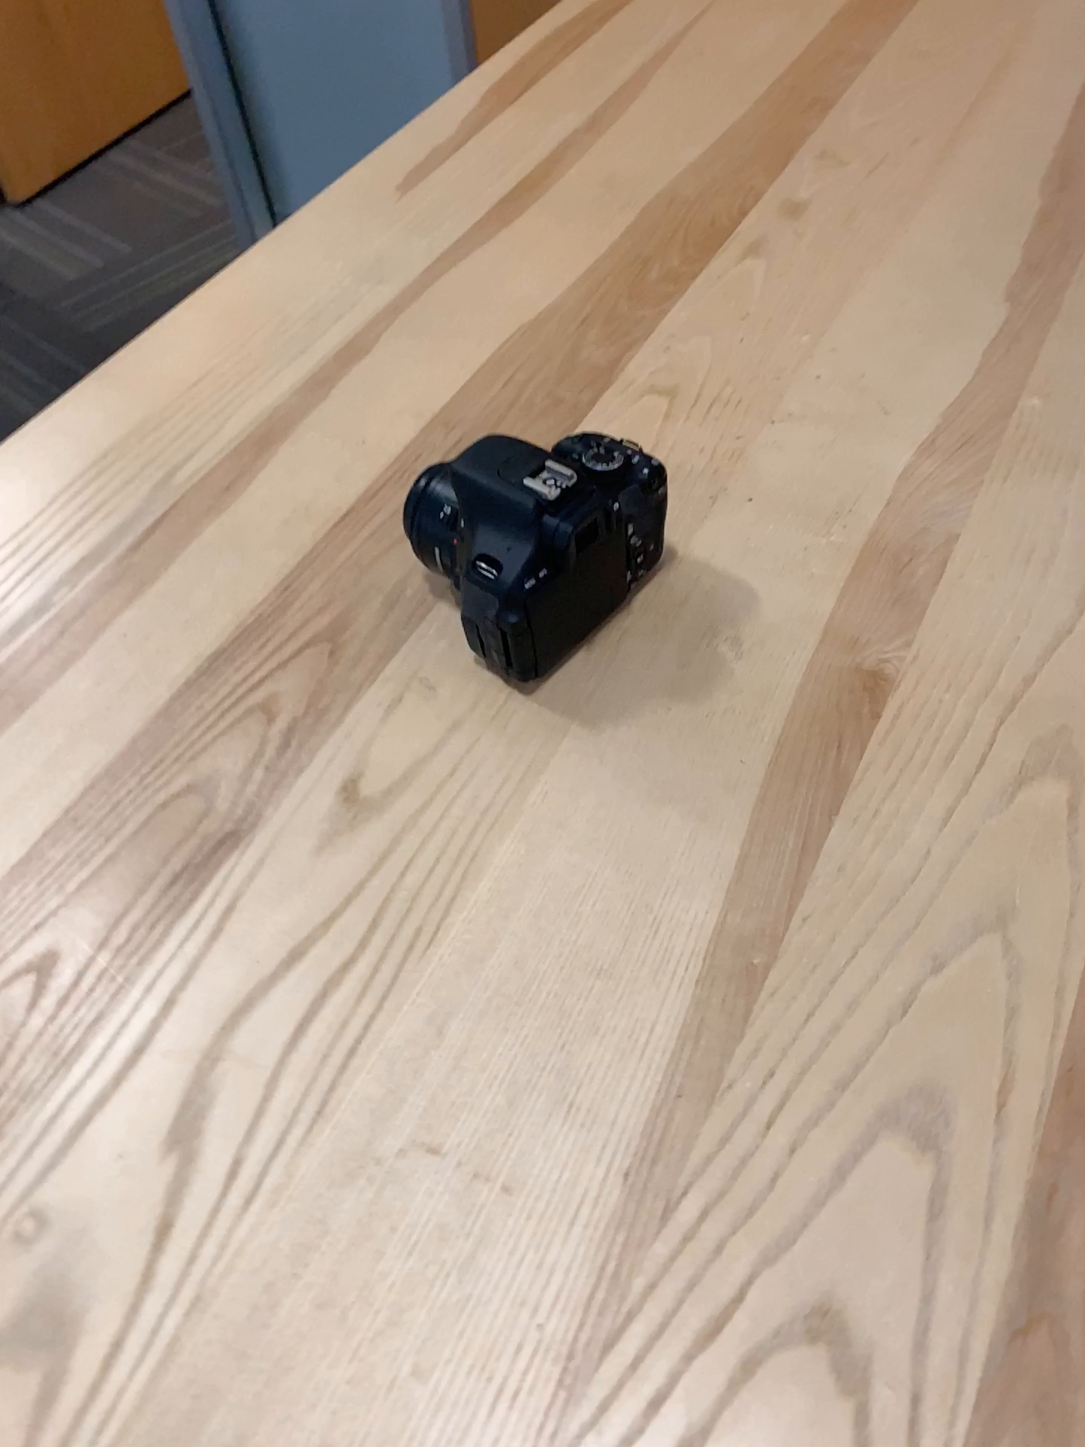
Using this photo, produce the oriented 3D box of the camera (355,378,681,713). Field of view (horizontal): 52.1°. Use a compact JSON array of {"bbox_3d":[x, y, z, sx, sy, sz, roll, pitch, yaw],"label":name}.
[{"bbox_3d":[-0.008,-0.100,0.604,0.116,0.094,0.123,30,60,28],"label":"camera"}]
